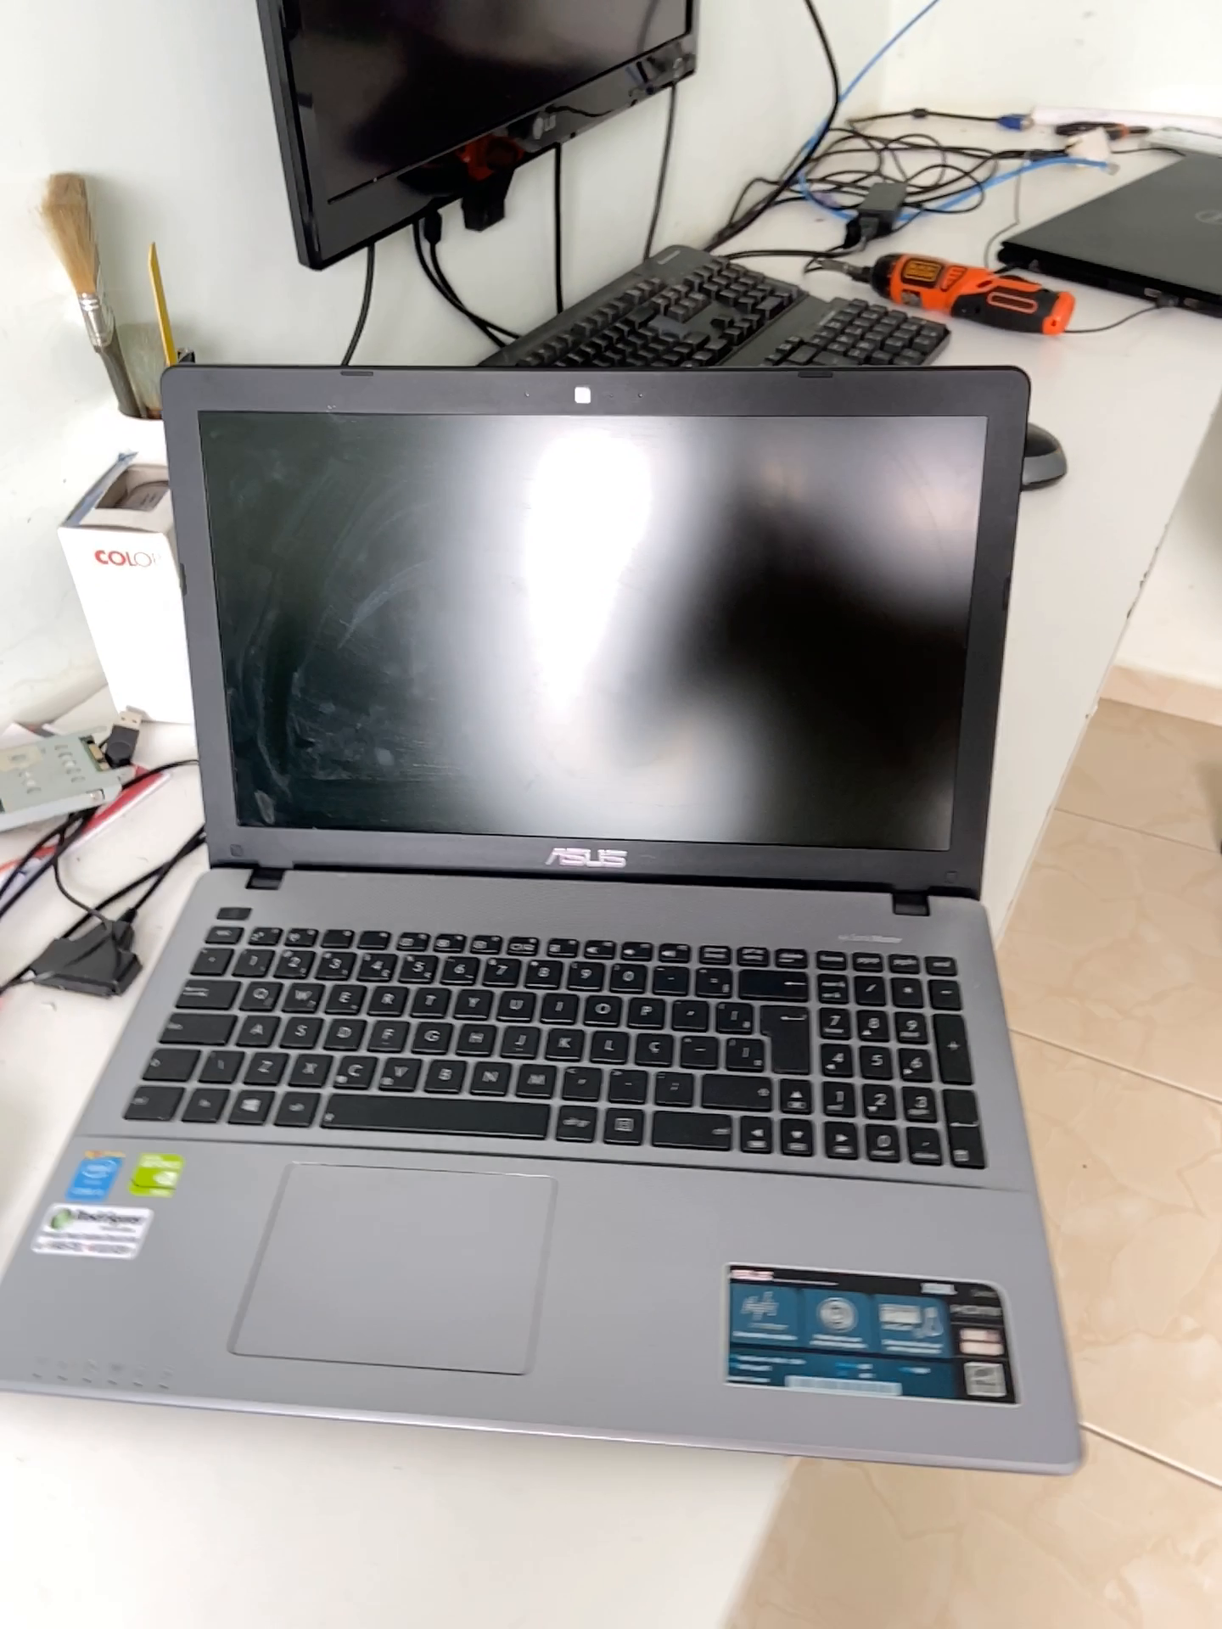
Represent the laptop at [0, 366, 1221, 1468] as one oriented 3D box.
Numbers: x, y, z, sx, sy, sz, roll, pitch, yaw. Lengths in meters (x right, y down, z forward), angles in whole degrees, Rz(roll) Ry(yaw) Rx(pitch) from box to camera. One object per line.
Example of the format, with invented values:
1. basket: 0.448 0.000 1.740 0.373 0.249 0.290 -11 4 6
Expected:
1. laptop: -0.024 0.005 0.482 0.376 0.213 0.358 2 41 6
